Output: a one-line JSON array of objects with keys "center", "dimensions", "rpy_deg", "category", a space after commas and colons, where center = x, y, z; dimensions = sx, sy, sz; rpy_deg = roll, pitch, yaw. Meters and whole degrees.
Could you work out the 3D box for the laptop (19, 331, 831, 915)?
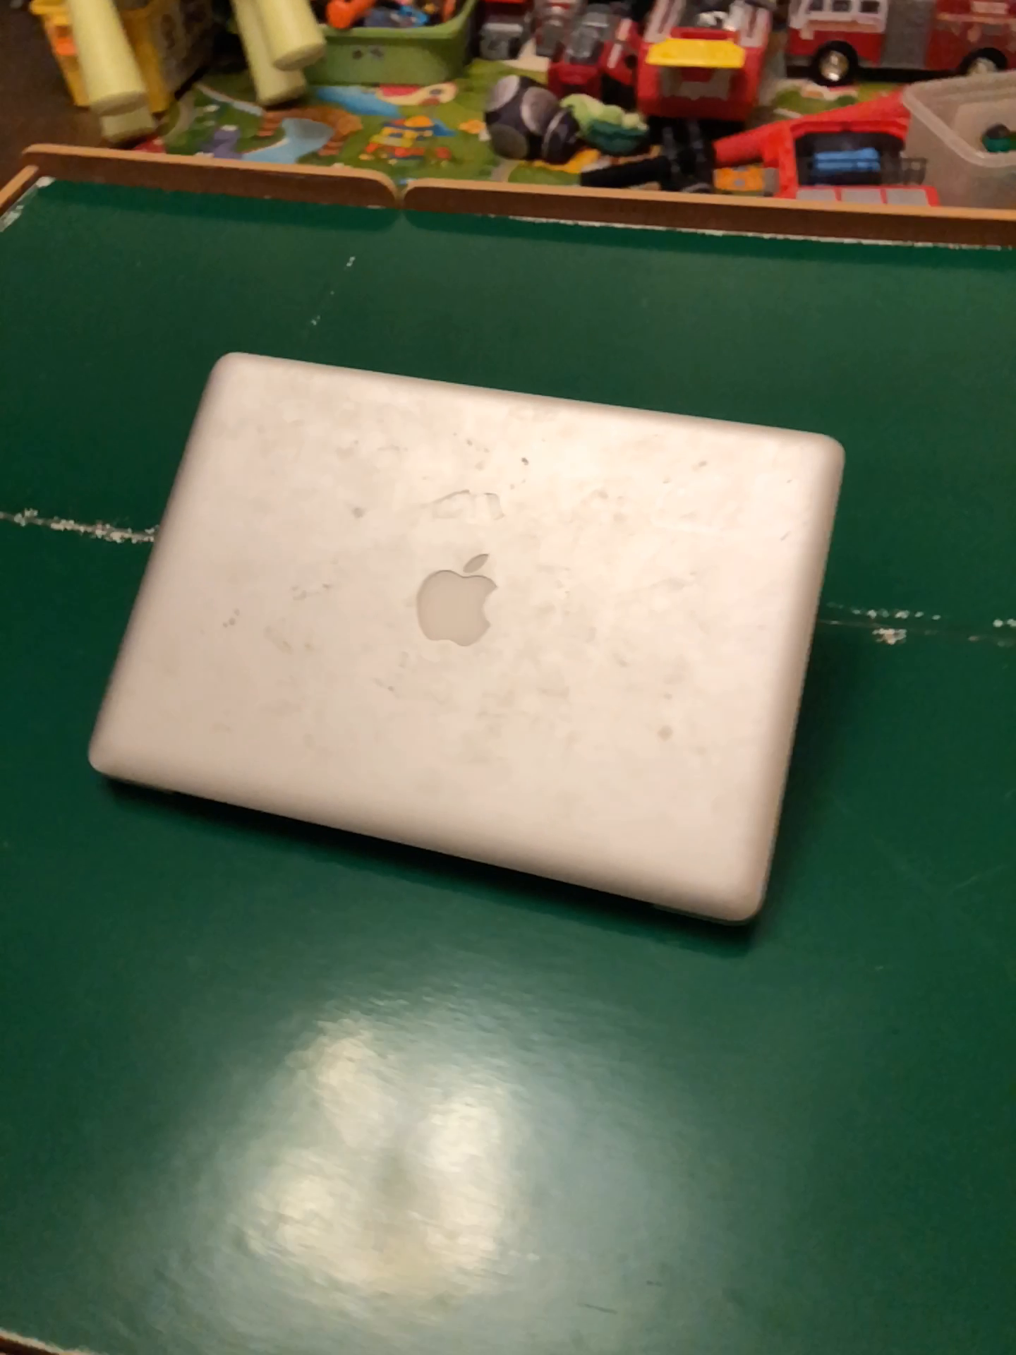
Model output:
[{"center": [-0.026, -0.043, 0.533], "dimensions": [0.315, 0.098, 0.211], "rpy_deg": [11, 53, 14], "category": "laptop"}]
